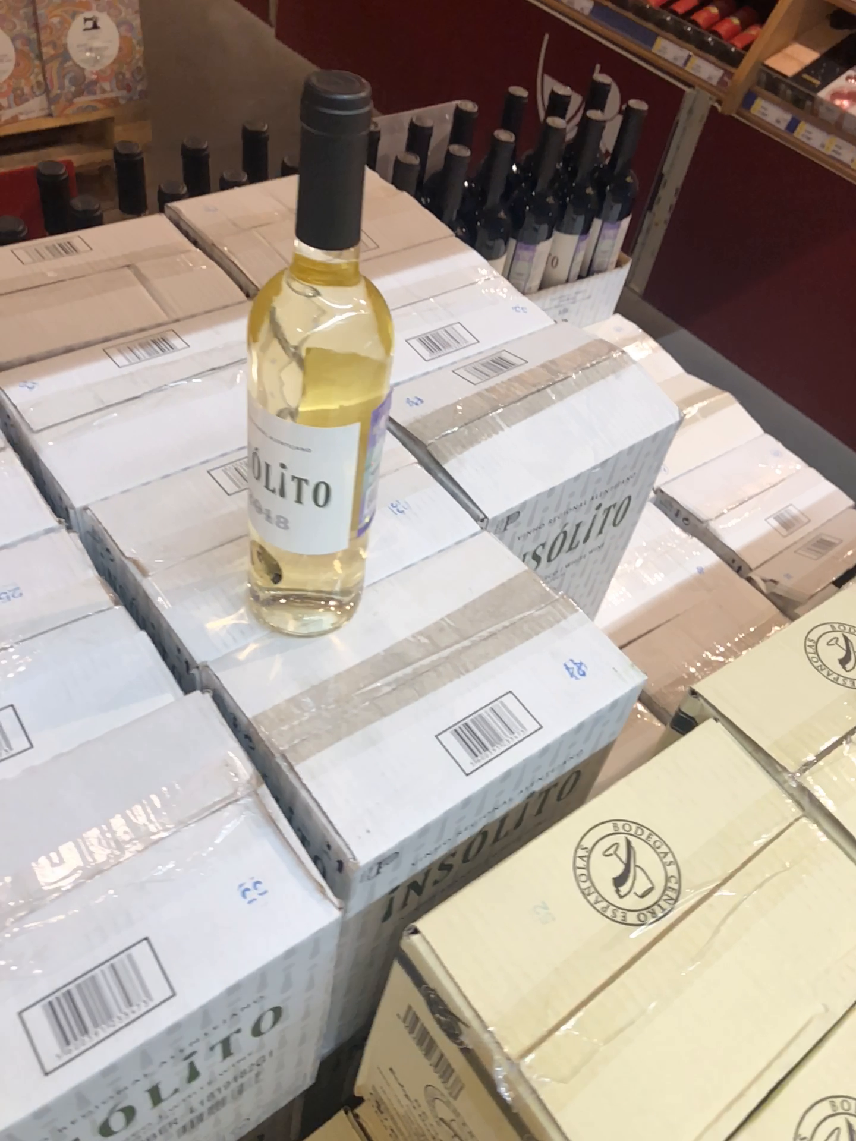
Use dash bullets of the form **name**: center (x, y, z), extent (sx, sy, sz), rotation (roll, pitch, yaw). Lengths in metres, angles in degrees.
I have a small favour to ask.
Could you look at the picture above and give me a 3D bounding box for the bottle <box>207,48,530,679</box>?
- **bottle**: center (-0.044, -0.082, 0.479), extent (0.090, 0.298, 0.090), rotation (6, 48, -6)
